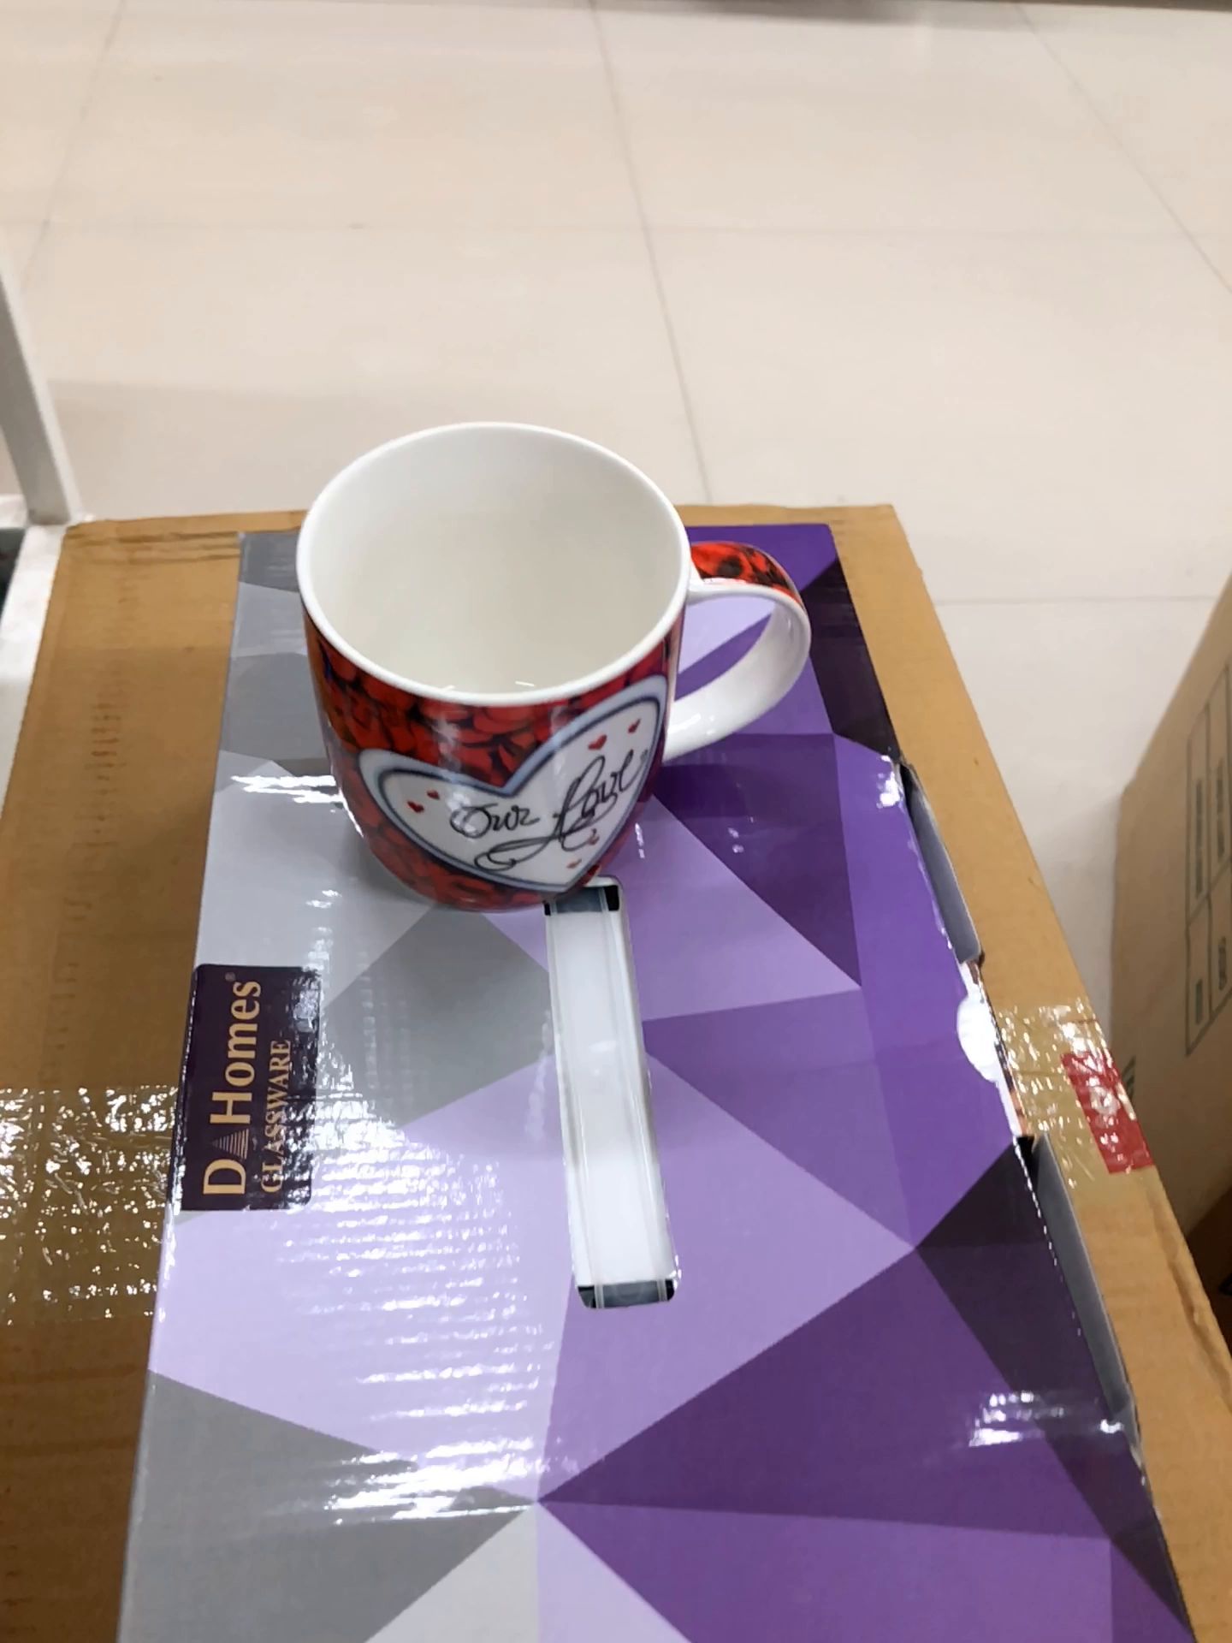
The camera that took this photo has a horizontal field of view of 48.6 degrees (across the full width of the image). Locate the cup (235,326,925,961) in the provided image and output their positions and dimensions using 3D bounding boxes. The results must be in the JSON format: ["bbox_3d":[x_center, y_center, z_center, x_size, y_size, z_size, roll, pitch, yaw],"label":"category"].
[{"bbox_3d":[-0.013,-0.045,0.337,0.130,0.099,0.090,-13,51,-15],"label":"cup"}]
